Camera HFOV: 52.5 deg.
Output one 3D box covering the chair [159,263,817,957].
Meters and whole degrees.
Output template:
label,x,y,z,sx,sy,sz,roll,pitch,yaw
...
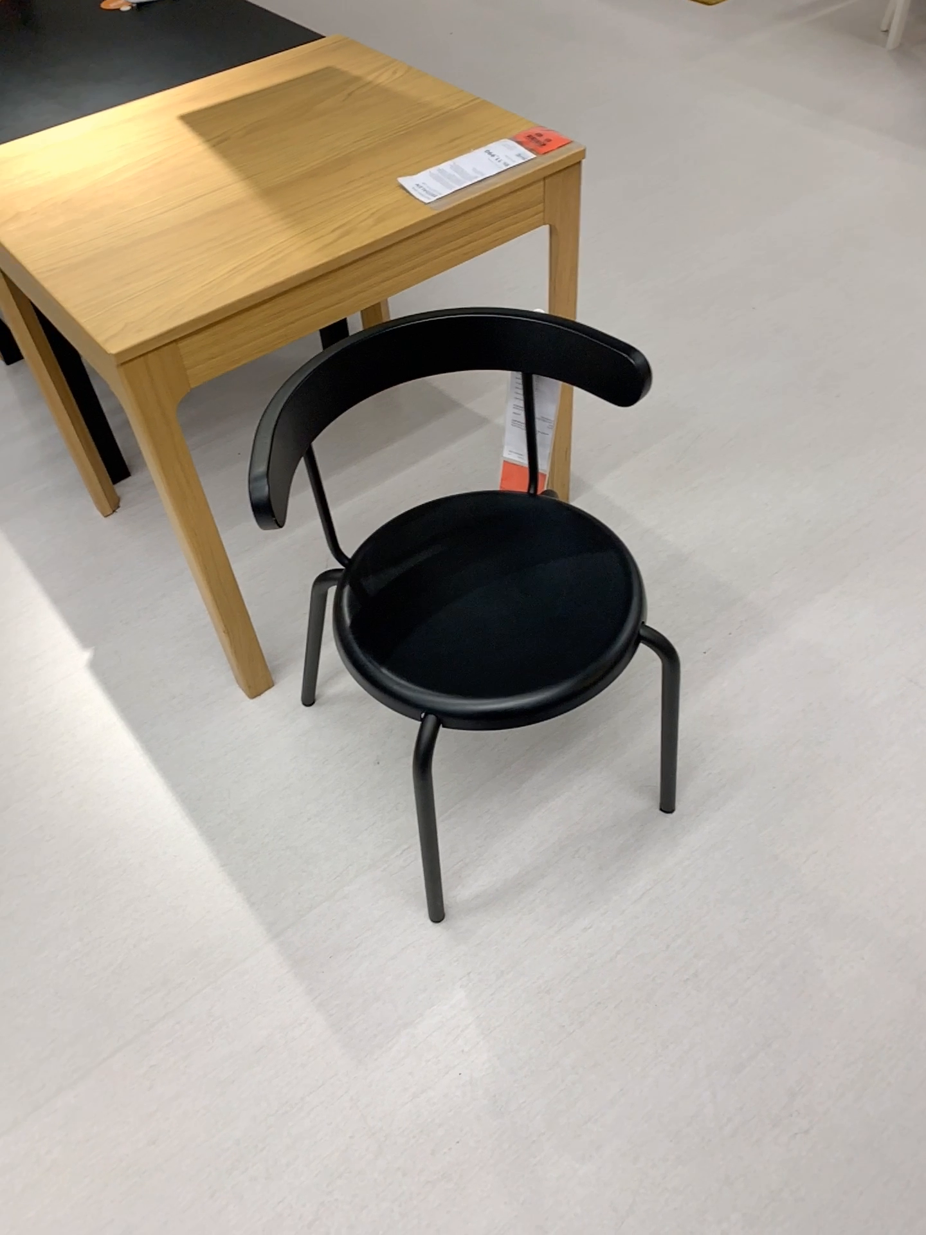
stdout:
label,x,y,z,sx,sy,sz,roll,pitch,yaw
chair,0.006,-0.020,1.364,0.590,0.598,0.612,-21,52,-13
